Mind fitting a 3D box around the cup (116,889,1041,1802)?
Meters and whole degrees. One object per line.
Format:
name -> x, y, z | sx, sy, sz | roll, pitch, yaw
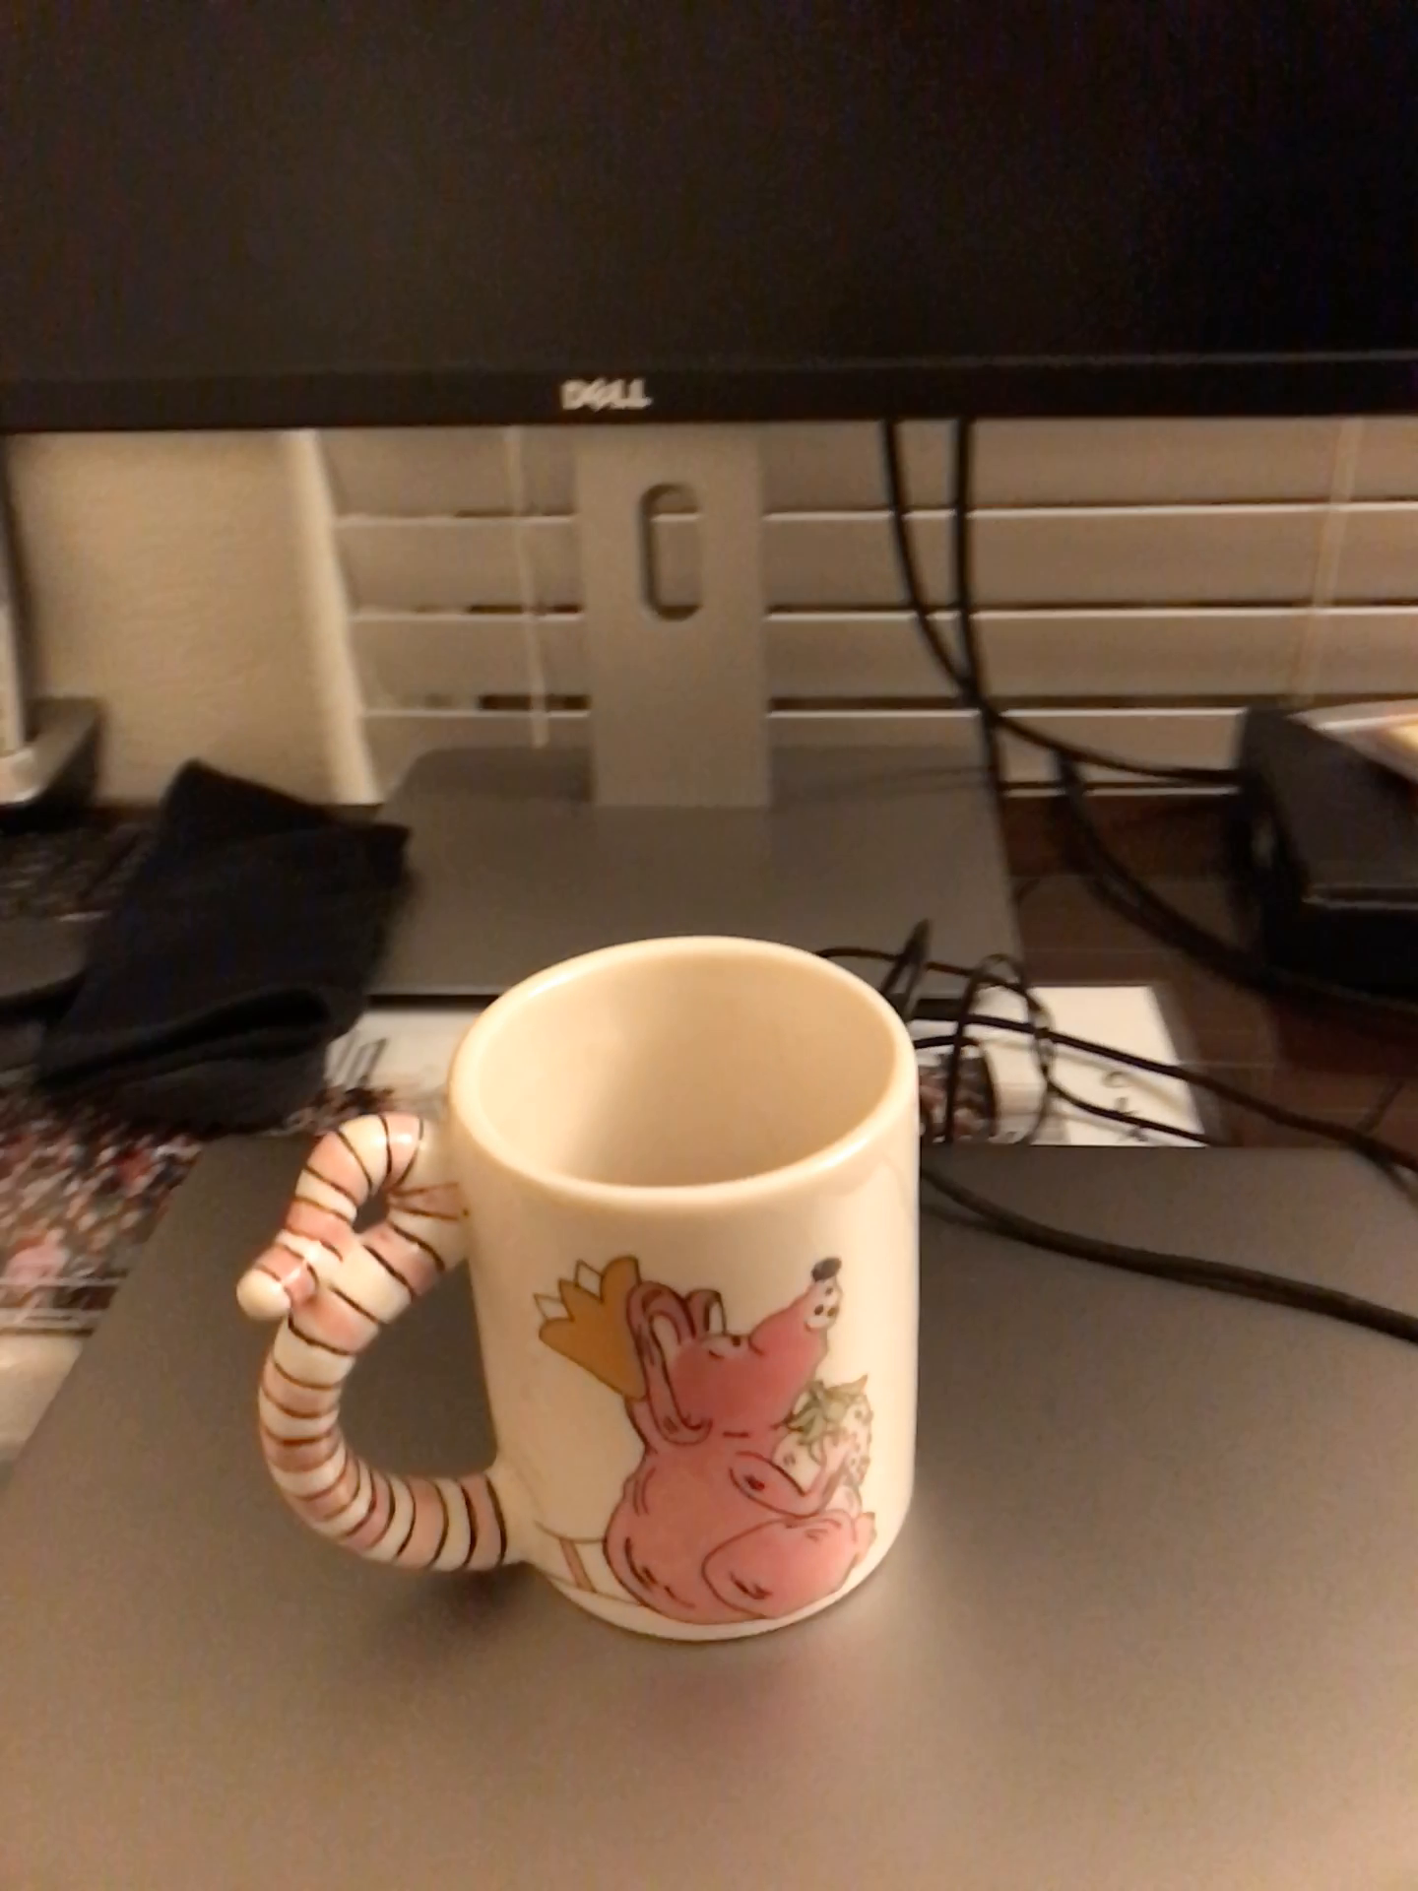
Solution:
cup -> -0.023, 0.062, 0.271 | 0.130, 0.099, 0.080 | -10, 28, -14
